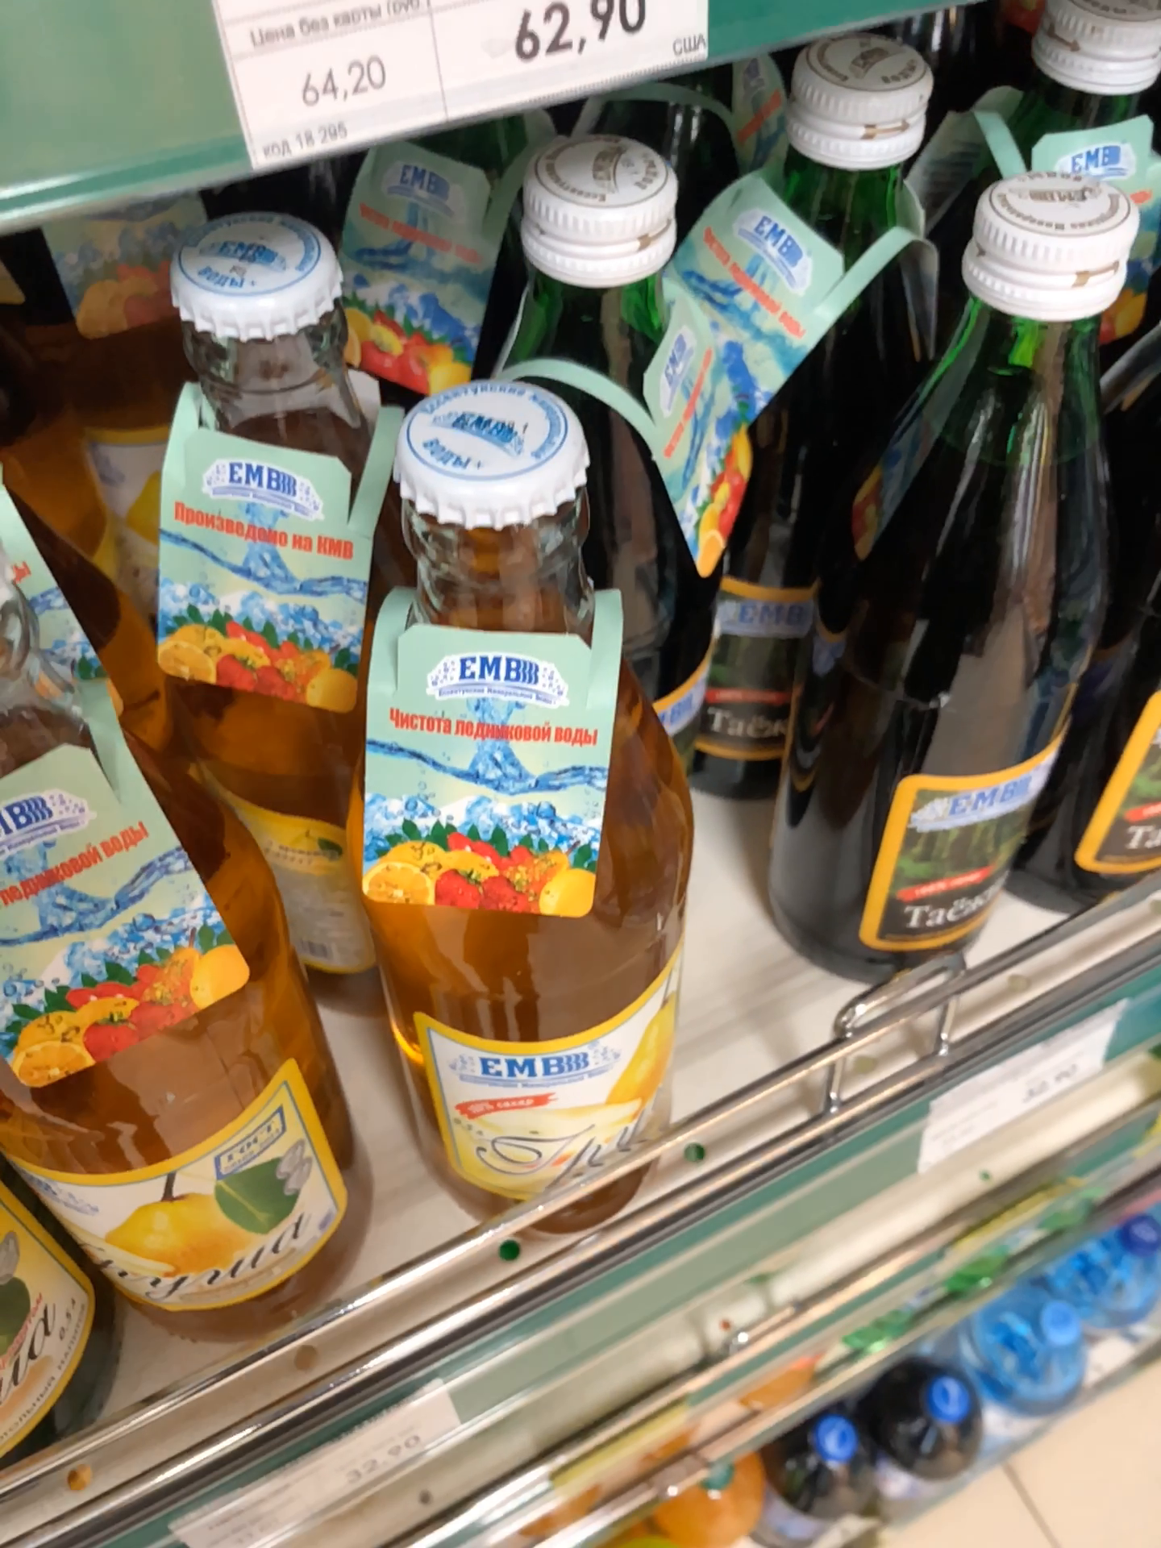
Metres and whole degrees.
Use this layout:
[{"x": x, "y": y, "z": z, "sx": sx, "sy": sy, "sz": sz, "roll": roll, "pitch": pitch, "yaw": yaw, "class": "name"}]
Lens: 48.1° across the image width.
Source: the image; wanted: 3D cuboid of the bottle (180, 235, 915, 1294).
[{"x": -0.007, "y": 0.023, "z": 0.276, "sx": 0.080, "sy": 0.234, "sz": 0.070, "roll": -25, "pitch": 56, "yaw": -19, "class": "bottle"}]
